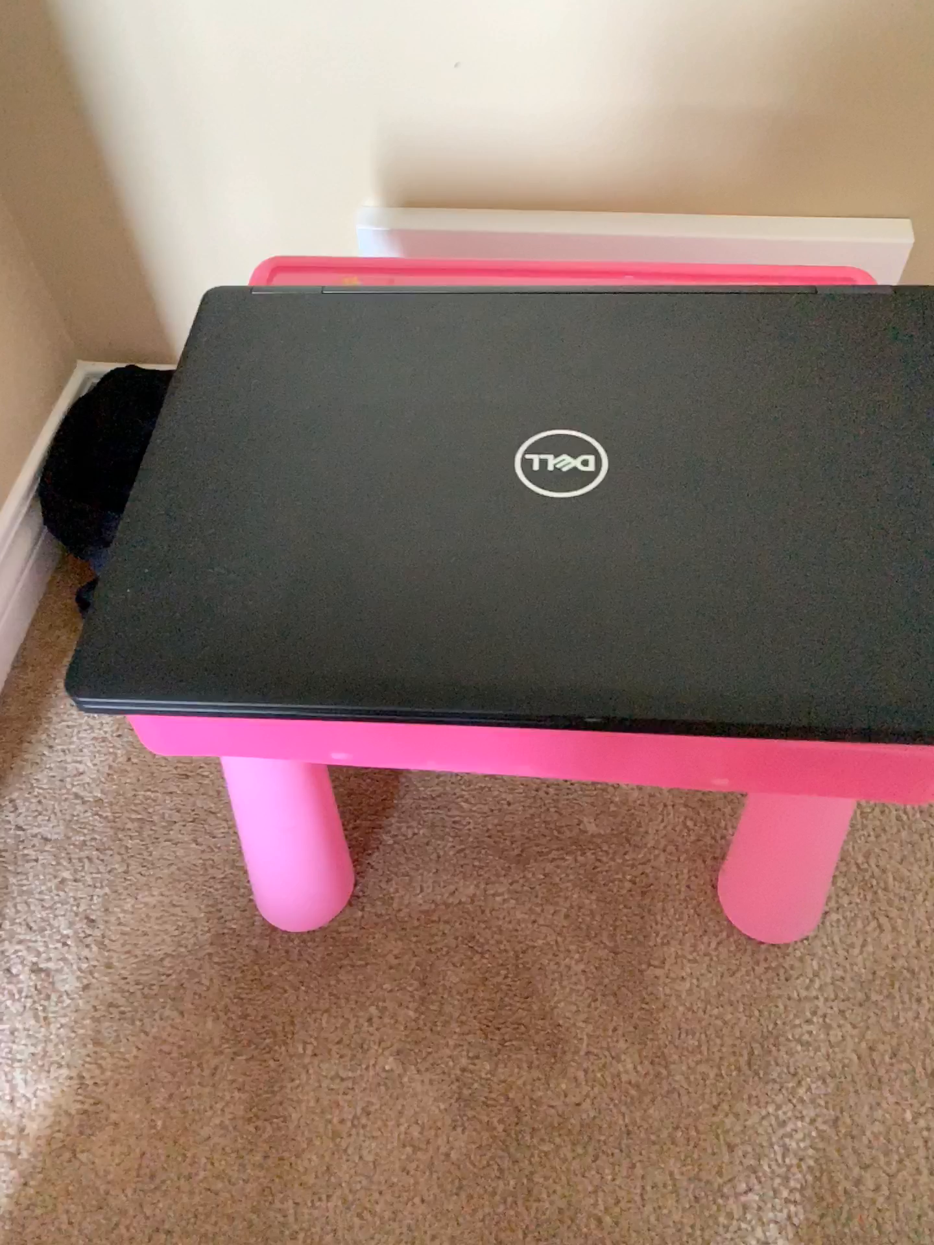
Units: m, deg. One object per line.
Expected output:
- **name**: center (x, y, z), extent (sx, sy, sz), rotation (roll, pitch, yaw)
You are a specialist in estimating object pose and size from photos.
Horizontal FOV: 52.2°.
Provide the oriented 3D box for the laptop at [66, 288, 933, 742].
- **laptop**: center (0.040, -0.065, 0.409), extent (0.366, 0.005, 0.241), rotation (2, 56, 5)
